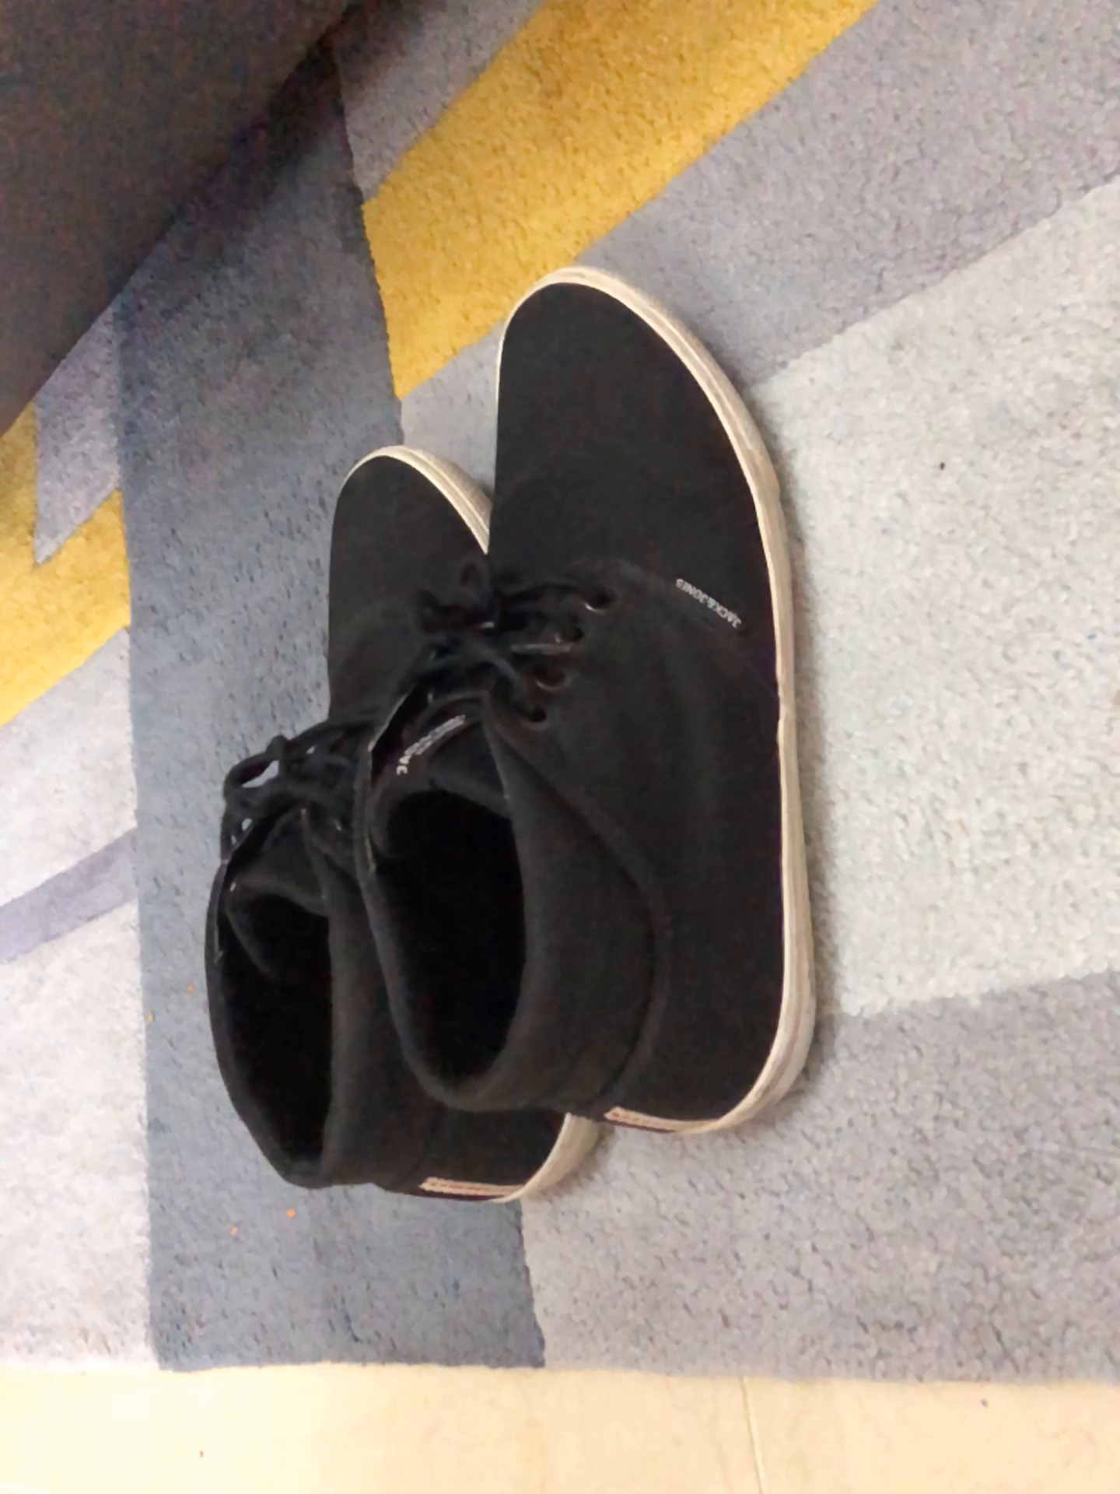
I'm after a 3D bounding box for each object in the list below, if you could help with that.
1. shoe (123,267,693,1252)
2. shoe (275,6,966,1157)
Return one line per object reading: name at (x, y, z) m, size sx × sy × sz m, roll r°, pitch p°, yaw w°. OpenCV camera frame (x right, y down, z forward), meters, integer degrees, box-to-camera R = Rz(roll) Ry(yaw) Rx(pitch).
shoe at (-0.062, 0.005, 0.412) m, size 0.110 × 0.109 × 0.281 m, roll -30°, pitch 61°, yaw 39°
shoe at (0.008, -0.036, 0.361) m, size 0.110 × 0.129 × 0.280 m, roll -23°, pitch 66°, yaw 42°
